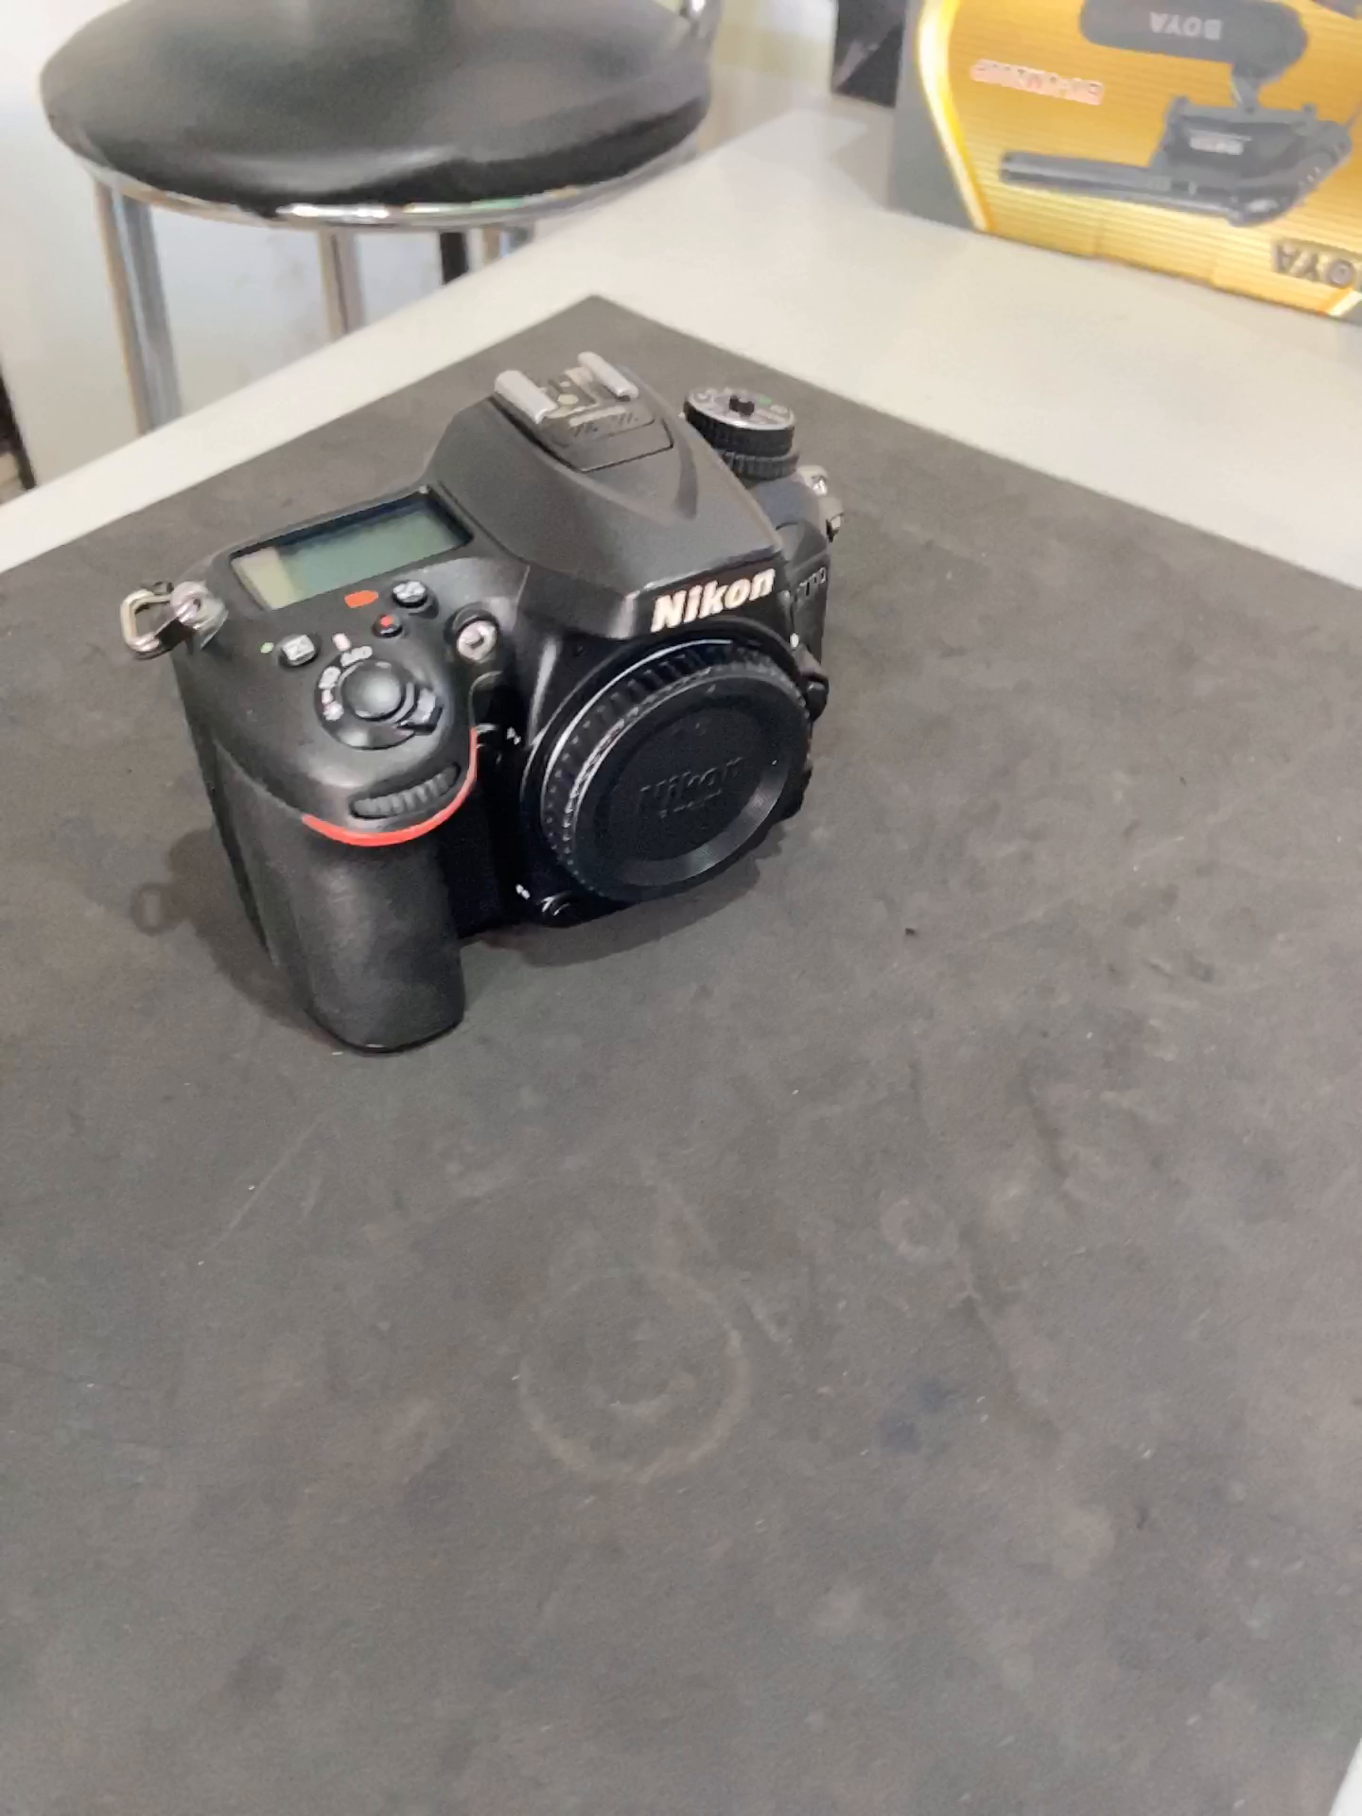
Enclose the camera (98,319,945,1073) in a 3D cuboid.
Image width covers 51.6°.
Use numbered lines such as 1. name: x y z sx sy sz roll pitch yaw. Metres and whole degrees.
1. camera: -0.029 -0.050 0.300 0.140 0.092 0.078 -26 51 -25
